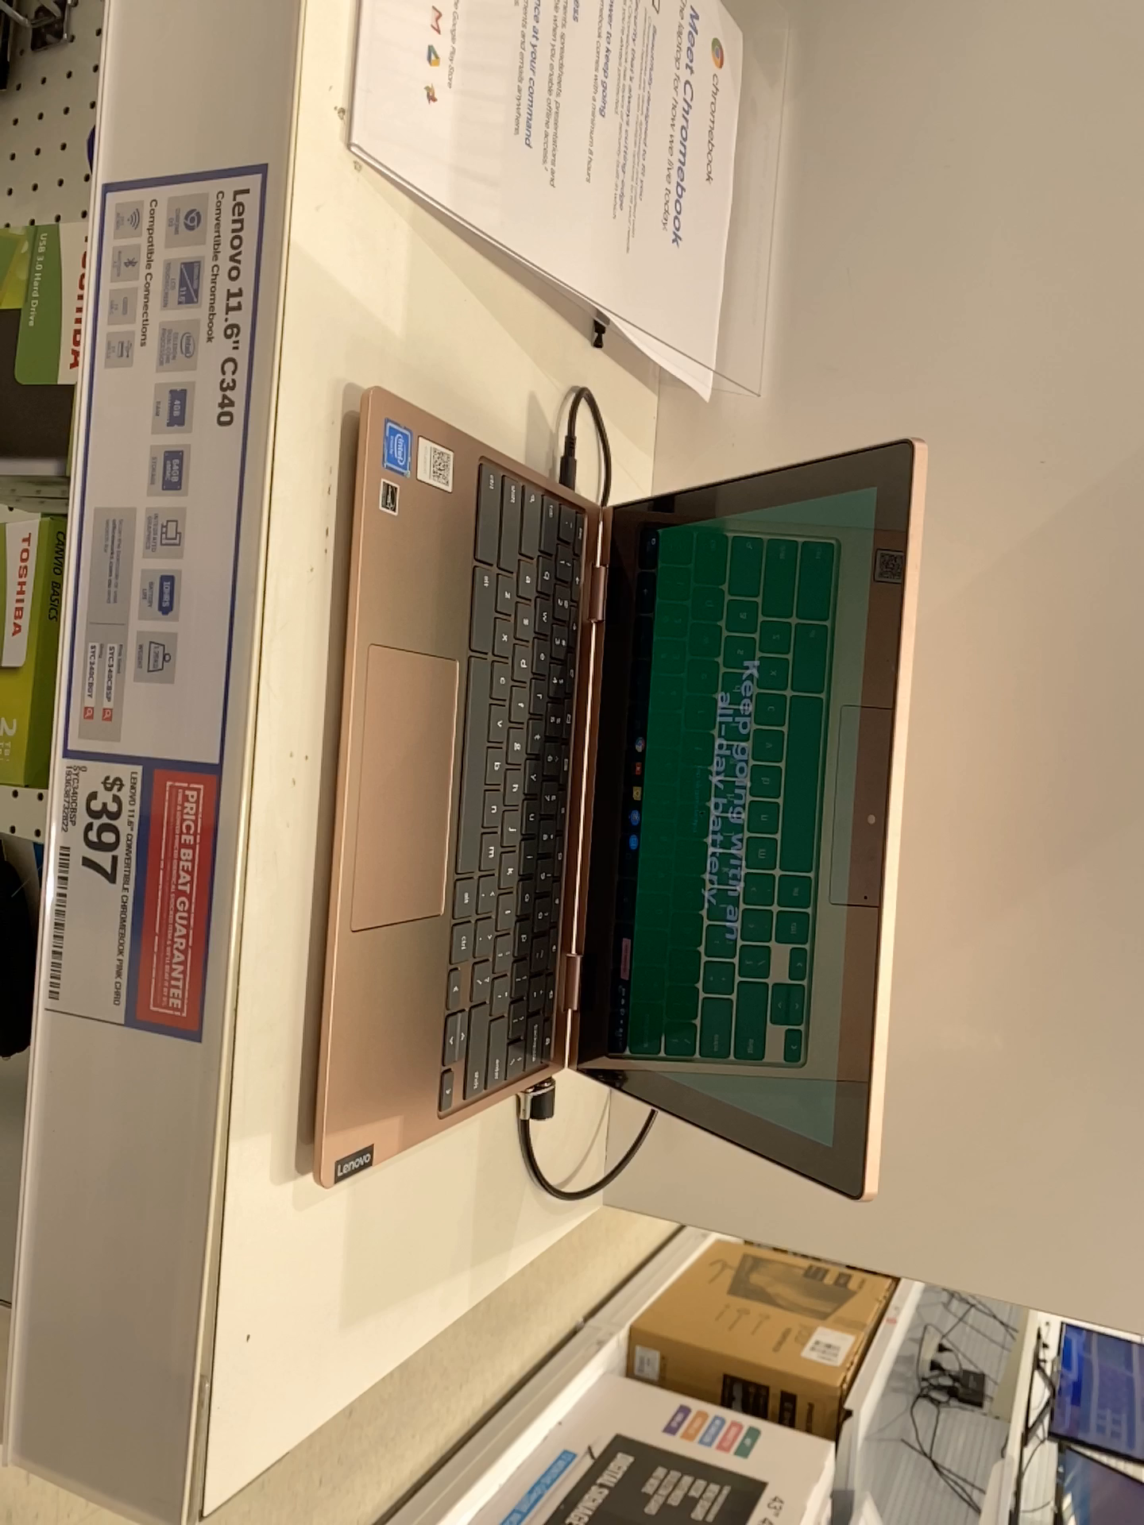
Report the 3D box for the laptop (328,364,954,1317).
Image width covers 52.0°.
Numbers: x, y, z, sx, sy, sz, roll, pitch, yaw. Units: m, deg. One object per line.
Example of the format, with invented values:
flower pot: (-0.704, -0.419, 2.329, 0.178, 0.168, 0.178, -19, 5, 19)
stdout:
laptop: (0.041, 0.022, 0.467, 0.197, 0.168, 0.280, 1, 93, -65)
